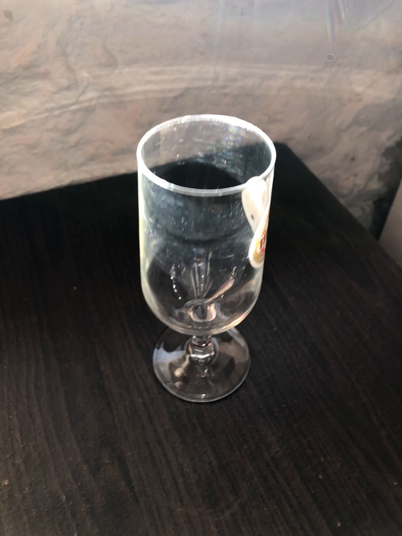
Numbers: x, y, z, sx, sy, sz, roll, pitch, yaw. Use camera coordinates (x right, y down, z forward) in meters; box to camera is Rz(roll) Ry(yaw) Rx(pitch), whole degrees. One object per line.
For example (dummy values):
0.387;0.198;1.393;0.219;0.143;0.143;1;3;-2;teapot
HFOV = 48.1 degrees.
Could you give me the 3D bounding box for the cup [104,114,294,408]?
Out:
0.001;0.006;0.244;0.070;0.155;0.068;0;46;0;cup
